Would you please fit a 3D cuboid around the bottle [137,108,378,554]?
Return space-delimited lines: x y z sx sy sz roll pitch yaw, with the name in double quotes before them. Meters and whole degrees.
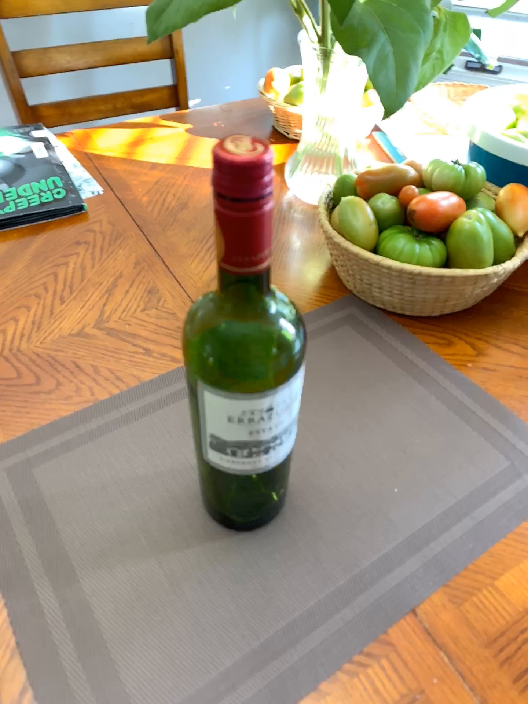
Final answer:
"bottle" -0.010 0.013 0.364 0.090 0.307 0.081 -19 48 -21
